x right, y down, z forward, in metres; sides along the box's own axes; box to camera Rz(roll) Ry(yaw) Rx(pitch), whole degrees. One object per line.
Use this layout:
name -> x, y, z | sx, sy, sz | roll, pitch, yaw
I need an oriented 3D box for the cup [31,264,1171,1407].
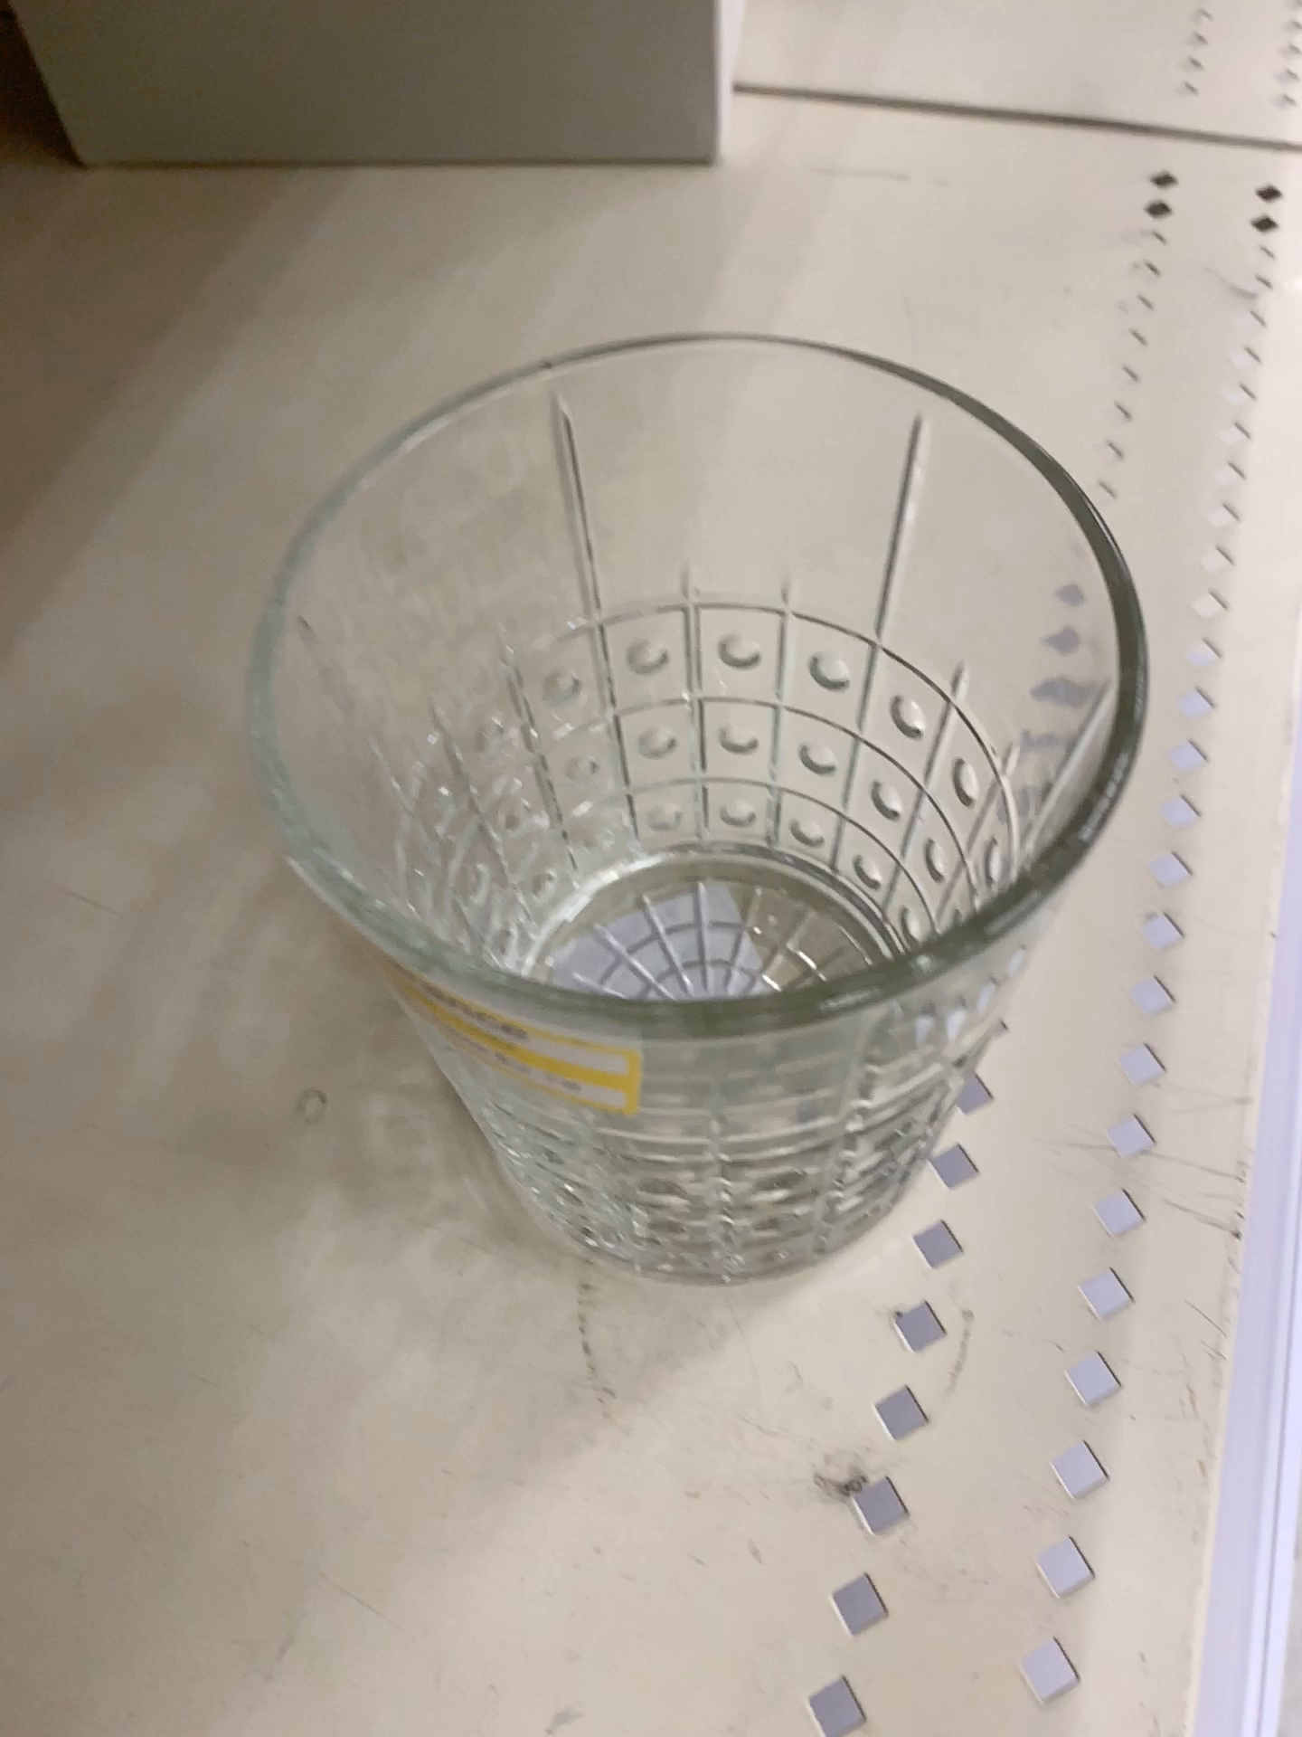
cup -> 0.002, 0.002, 0.184 | 0.090, 0.110, 0.090 | -1, 58, 2
